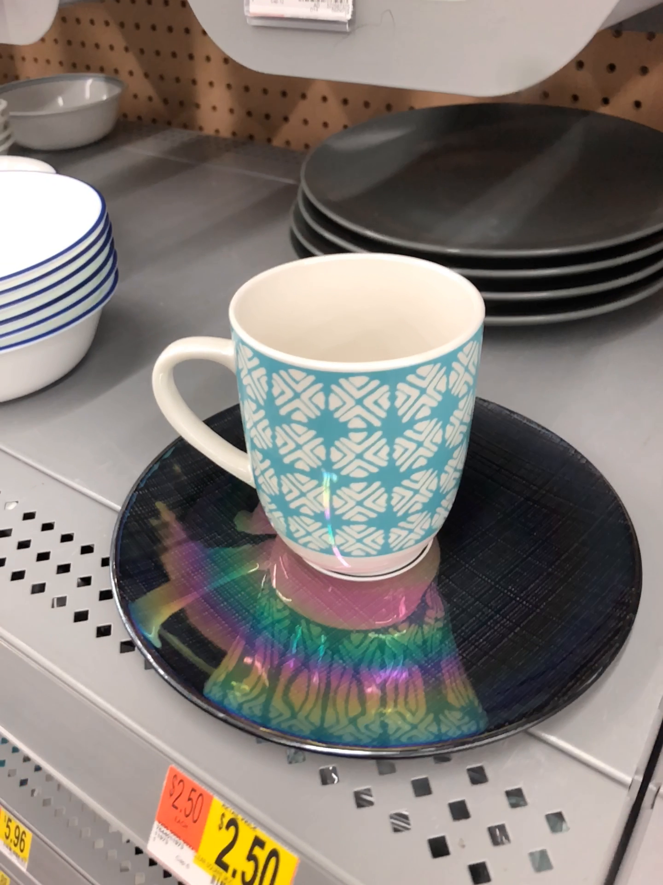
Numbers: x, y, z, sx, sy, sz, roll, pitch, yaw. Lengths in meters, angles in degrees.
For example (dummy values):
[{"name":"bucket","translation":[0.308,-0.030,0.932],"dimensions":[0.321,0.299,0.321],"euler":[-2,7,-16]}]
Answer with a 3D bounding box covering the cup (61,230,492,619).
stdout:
[{"name":"cup","translation":[-0.010,-0.011,0.273],"dimensions":[0.122,0.098,0.089],"euler":[6,38,11]}]
